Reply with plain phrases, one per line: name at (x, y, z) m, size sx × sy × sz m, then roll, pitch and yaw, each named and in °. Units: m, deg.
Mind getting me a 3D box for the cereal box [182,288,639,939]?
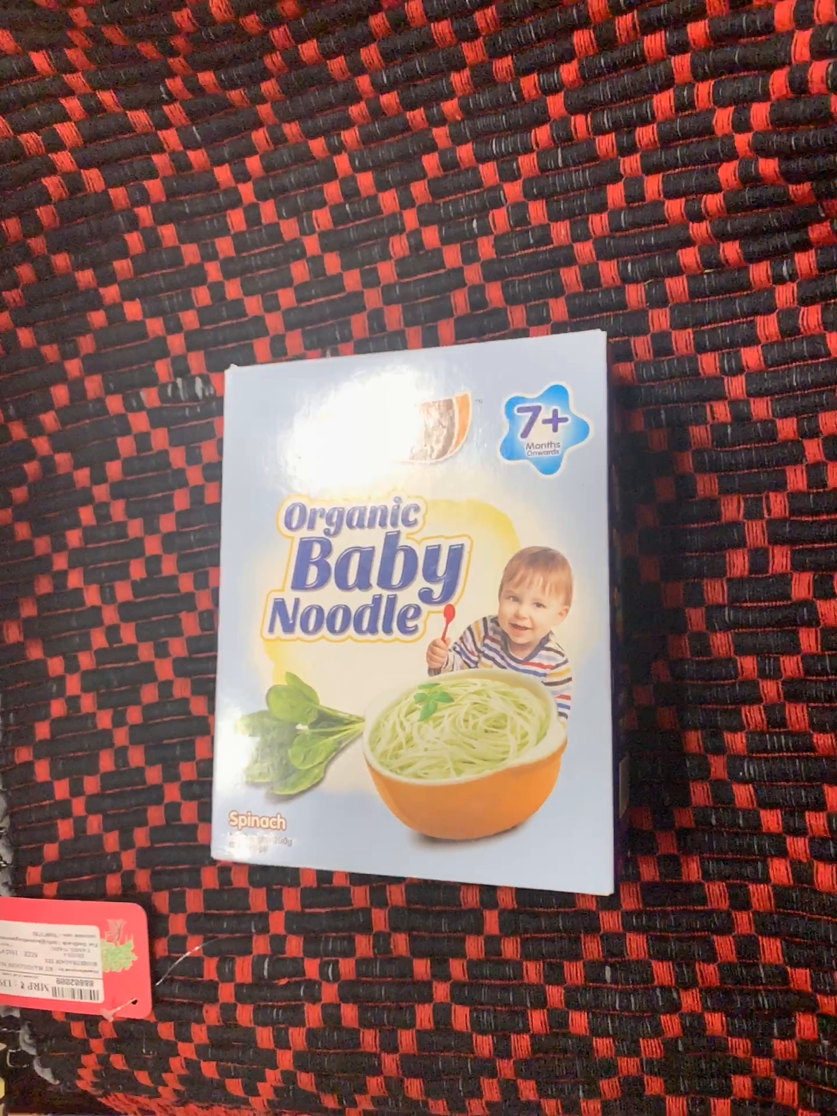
cereal box at (-0.002, 0.016, 0.270) m, size 0.130 × 0.050 × 0.170 m, roll -2°, pitch 86°, yaw 17°
